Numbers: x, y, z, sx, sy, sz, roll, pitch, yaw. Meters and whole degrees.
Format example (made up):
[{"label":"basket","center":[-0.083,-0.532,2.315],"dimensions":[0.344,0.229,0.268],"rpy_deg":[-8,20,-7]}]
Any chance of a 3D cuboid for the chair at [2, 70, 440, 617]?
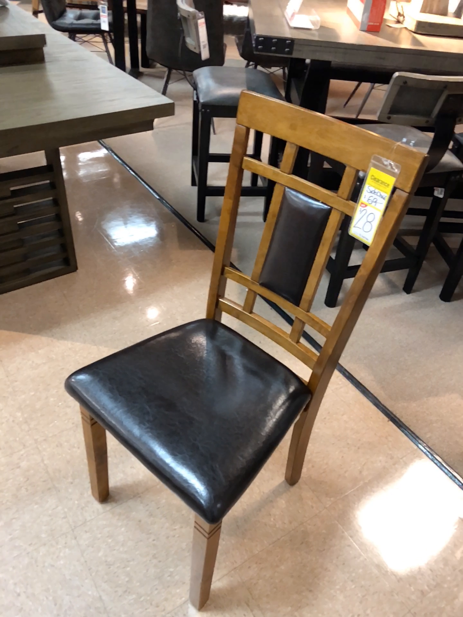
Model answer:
[{"label":"chair","center":[-0.035,0.111,1.088],"dimensions":[0.451,0.993,0.502],"rpy_deg":[33,47,29]}]
